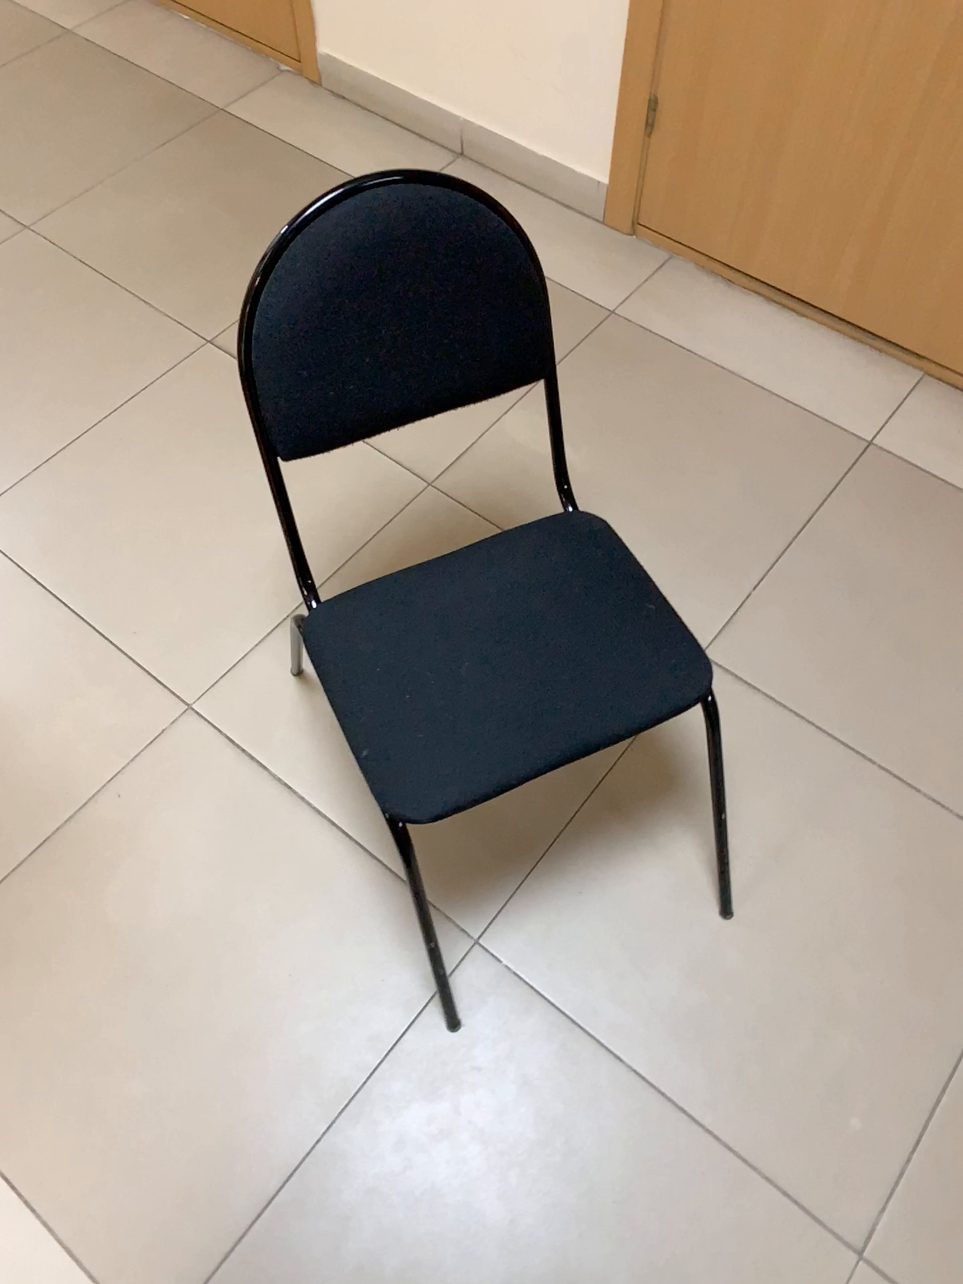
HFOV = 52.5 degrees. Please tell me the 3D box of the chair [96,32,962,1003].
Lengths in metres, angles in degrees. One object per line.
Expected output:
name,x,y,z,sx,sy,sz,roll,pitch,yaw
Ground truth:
chair,0.001,-0.084,1.145,0.481,0.775,0.693,-22,63,-13
